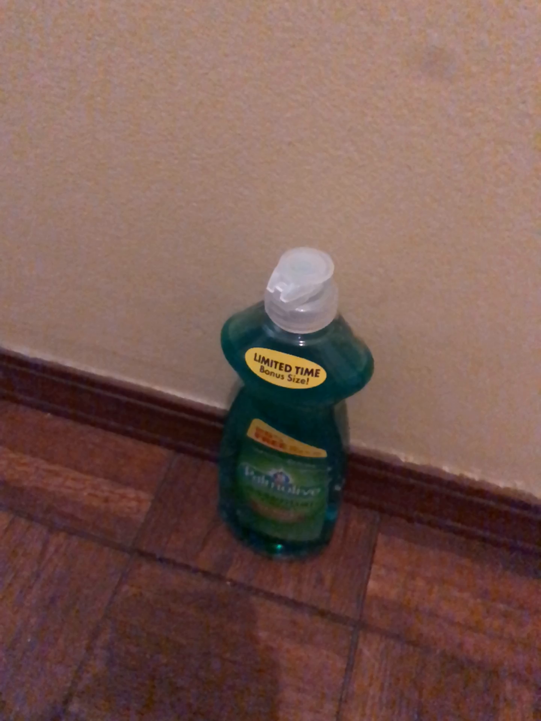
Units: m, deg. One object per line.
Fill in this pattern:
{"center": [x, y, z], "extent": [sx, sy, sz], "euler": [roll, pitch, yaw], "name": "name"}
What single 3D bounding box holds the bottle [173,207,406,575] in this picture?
{"center": [0.006, 0.036, 0.321], "extent": [0.080, 0.230, 0.050], "euler": [13, 51, 9], "name": "bottle"}
